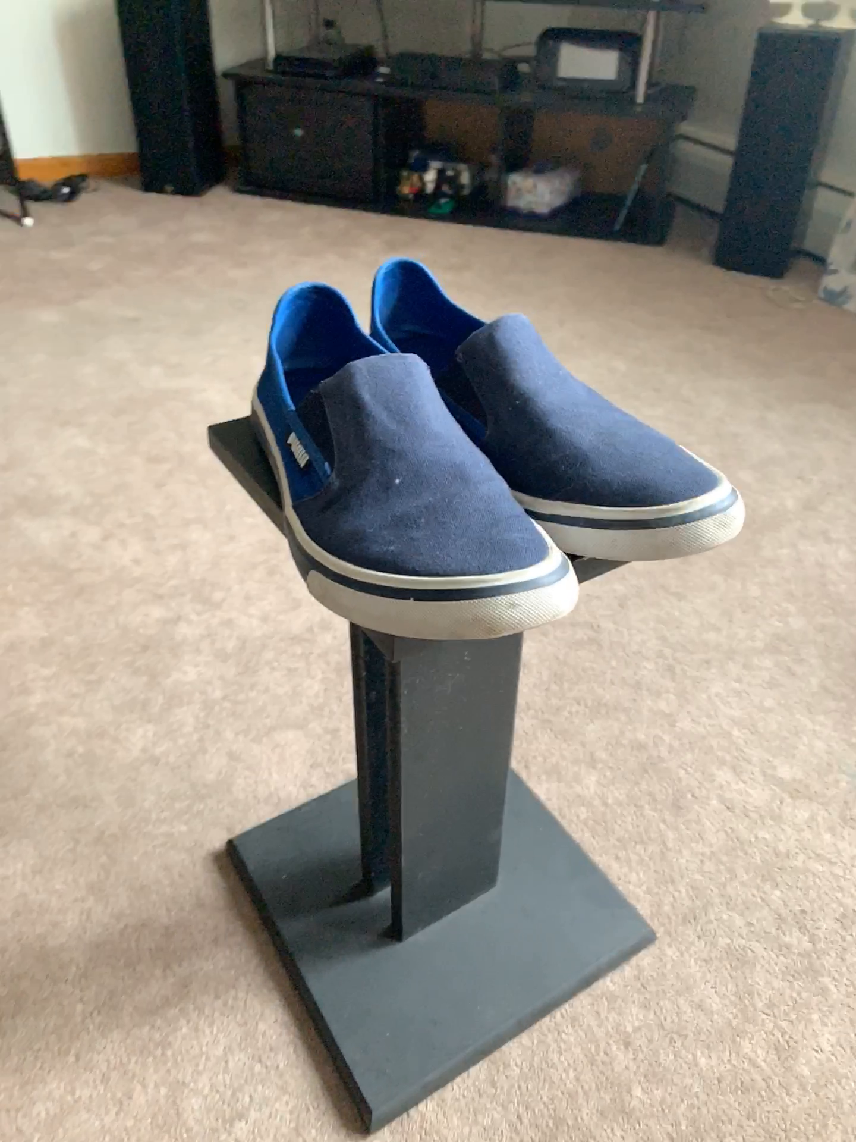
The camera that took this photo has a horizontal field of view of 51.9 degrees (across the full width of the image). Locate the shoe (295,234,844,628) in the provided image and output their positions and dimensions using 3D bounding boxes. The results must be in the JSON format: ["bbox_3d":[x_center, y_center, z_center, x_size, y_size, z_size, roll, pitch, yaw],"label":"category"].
[{"bbox_3d":[0.054,-0.102,0.498,0.120,0.079,0.302,-23,43,-29],"label":"shoe"}]

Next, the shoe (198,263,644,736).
[{"bbox_3d":[-0.028,-0.065,0.452,0.120,0.079,0.302,-12,39,-17],"label":"shoe"}]
